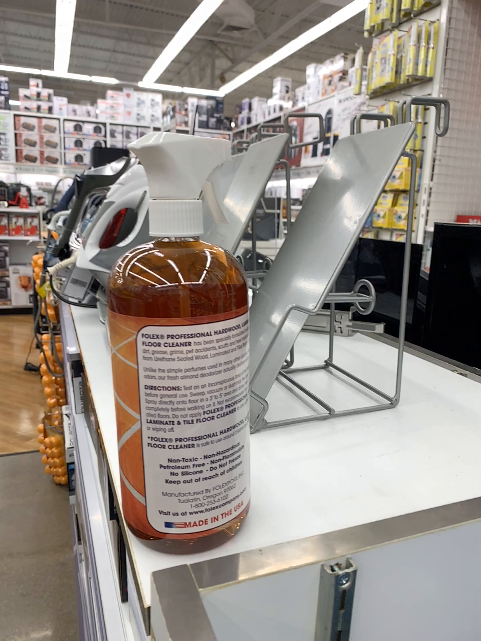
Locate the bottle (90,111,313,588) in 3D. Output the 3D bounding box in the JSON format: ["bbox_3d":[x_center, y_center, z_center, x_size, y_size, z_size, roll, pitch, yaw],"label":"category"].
[{"bbox_3d":[-0.031,0.014,0.313,0.100,0.249,0.090,-5,14,-29],"label":"bottle"}]
